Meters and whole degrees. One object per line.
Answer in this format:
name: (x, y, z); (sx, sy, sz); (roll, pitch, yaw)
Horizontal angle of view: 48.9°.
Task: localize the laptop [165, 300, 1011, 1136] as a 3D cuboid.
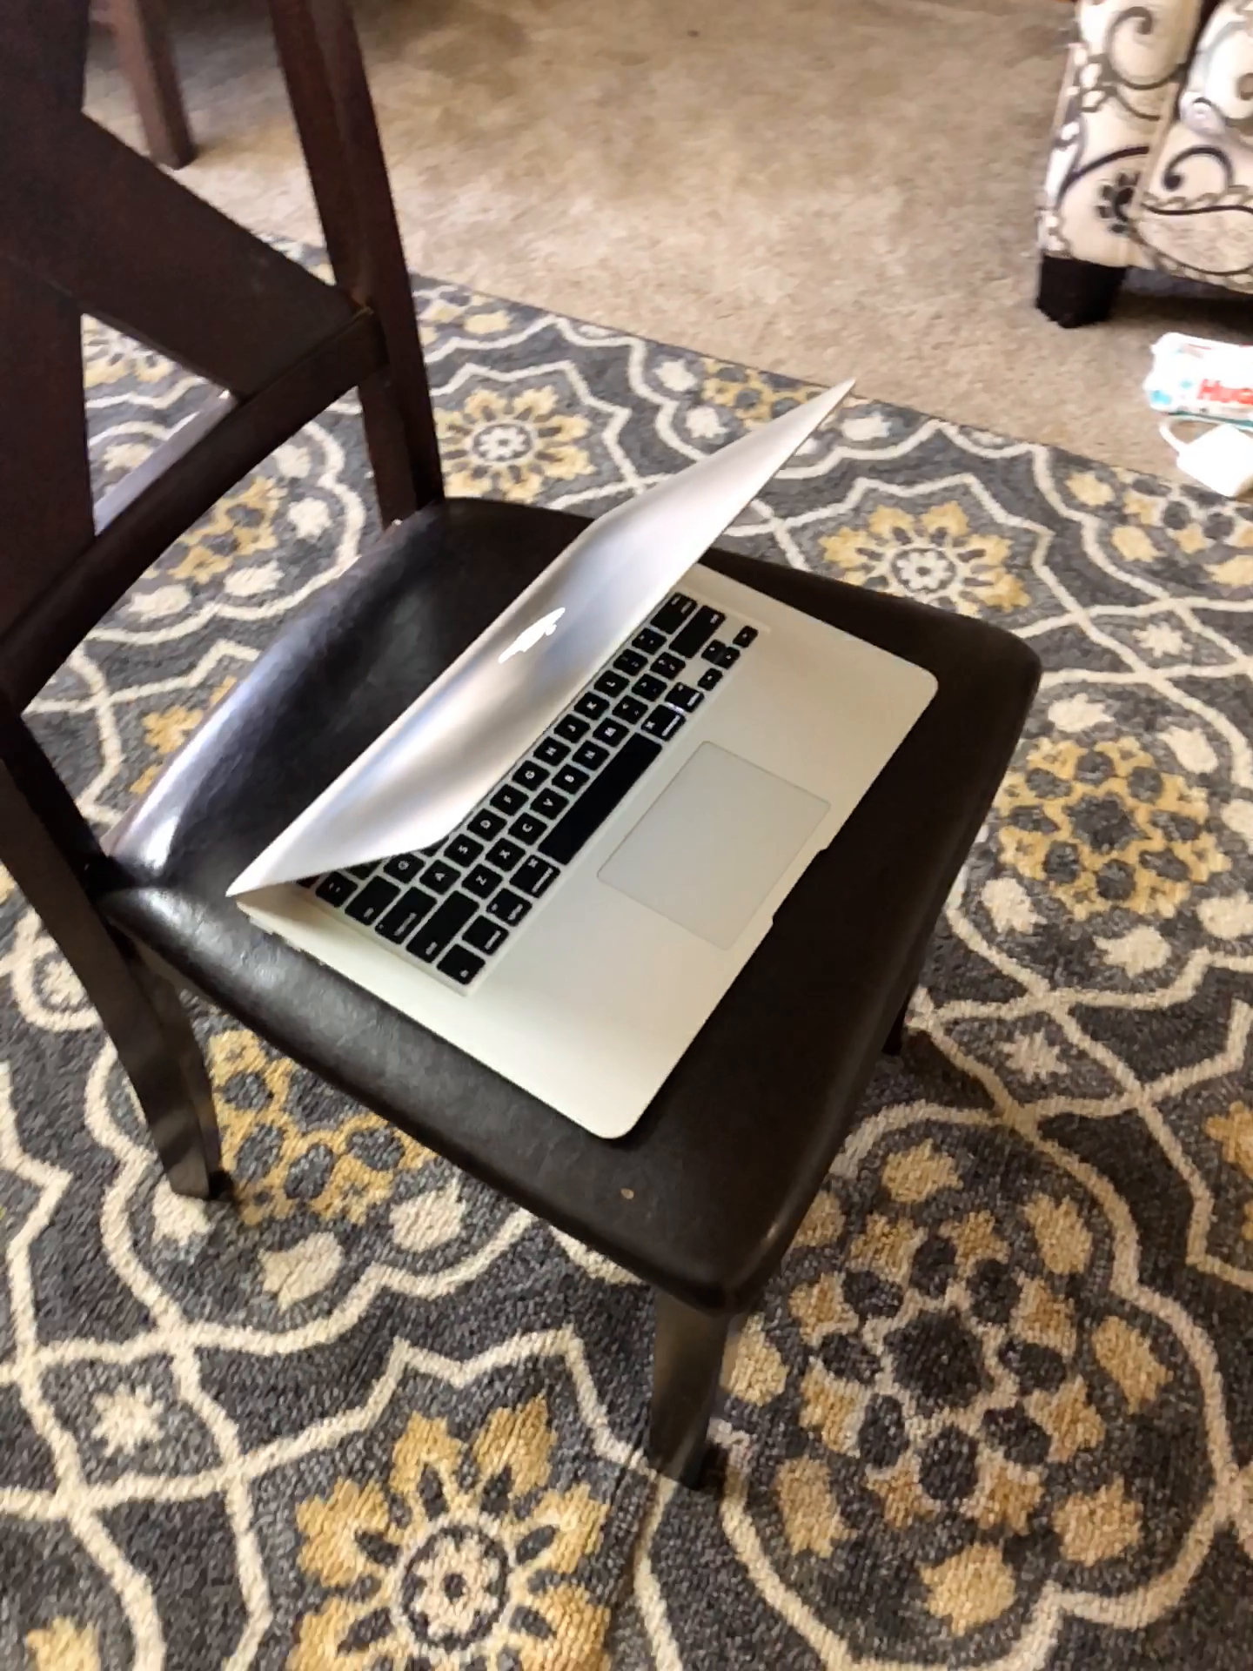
laptop: (-0.004, -0.070, 0.628); (0.216, 0.154, 0.304); (27, 57, 20)
